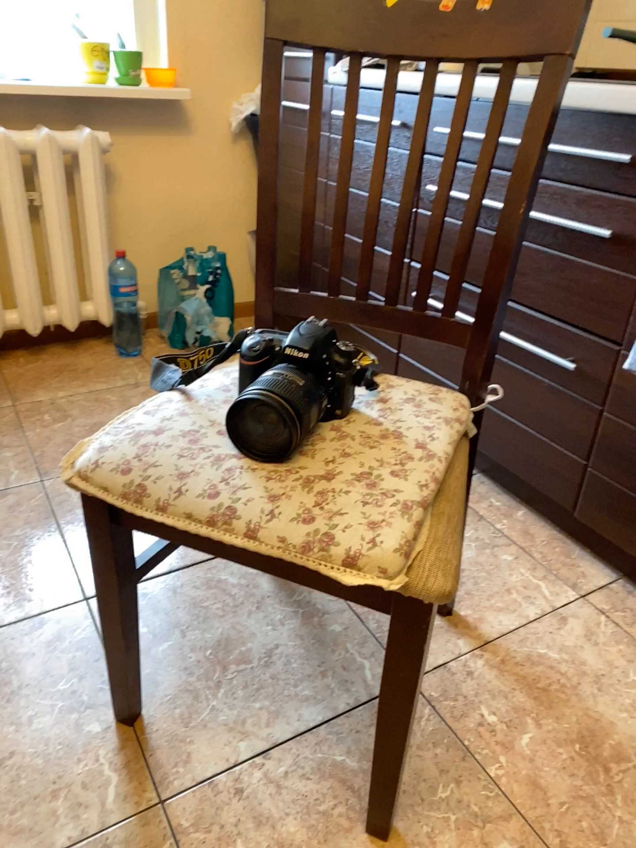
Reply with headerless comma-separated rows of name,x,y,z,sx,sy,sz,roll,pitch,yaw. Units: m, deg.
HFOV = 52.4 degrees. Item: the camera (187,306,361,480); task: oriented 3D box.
camera,-0.045,-0.043,0.730,0.135,0.119,0.164,13,28,16
